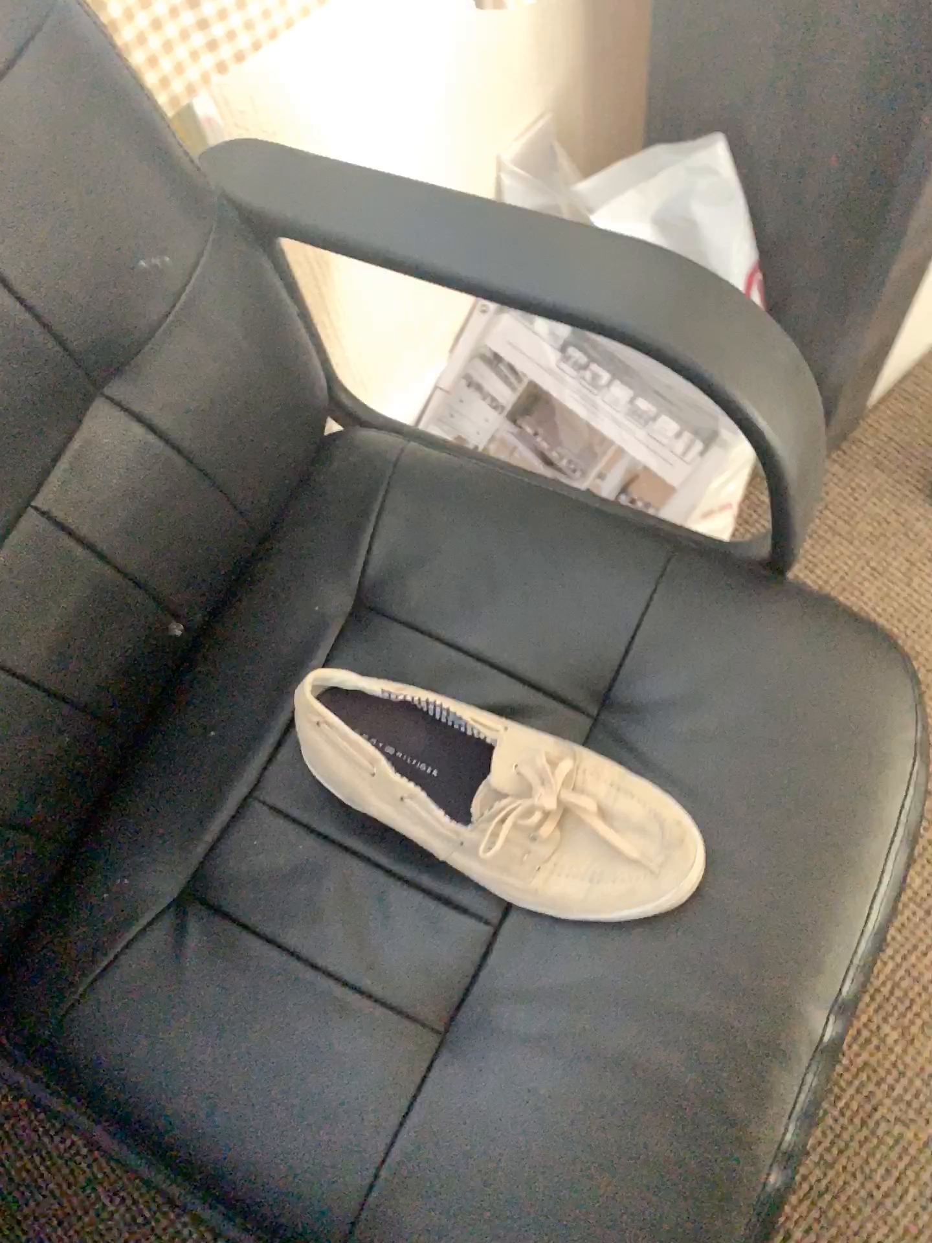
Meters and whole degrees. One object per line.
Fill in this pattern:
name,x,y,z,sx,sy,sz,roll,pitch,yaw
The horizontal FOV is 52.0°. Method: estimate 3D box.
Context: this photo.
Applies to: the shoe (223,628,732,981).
shoe,0.006,0.105,0.568,0.270,0.070,0.100,20,71,15
